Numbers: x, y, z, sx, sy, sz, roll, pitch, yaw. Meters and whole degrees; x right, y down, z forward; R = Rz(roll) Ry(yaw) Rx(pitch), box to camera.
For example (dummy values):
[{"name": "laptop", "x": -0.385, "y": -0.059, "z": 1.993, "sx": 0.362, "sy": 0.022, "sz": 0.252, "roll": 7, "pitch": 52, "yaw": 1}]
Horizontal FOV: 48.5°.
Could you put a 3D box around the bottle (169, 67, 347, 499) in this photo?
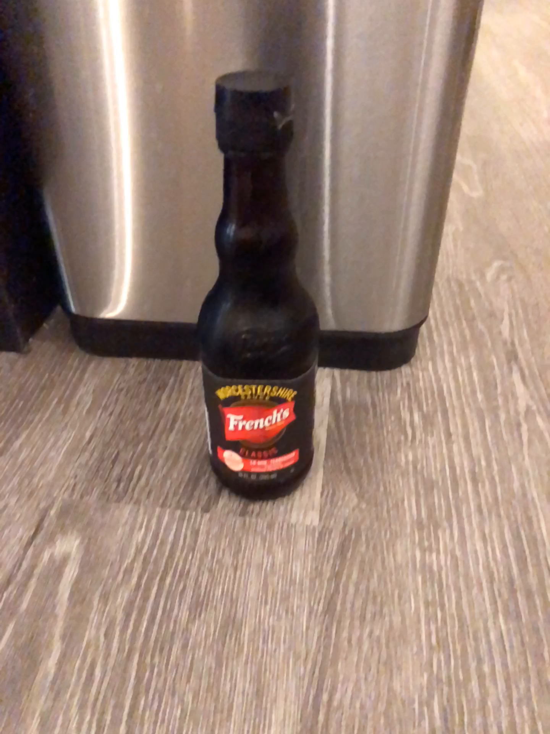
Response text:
[{"name": "bottle", "x": -0.005, "y": -0.027, "z": 0.290, "sx": 0.060, "sy": 0.199, "sz": 0.060, "roll": 0, "pitch": 38, "yaw": 0}]
